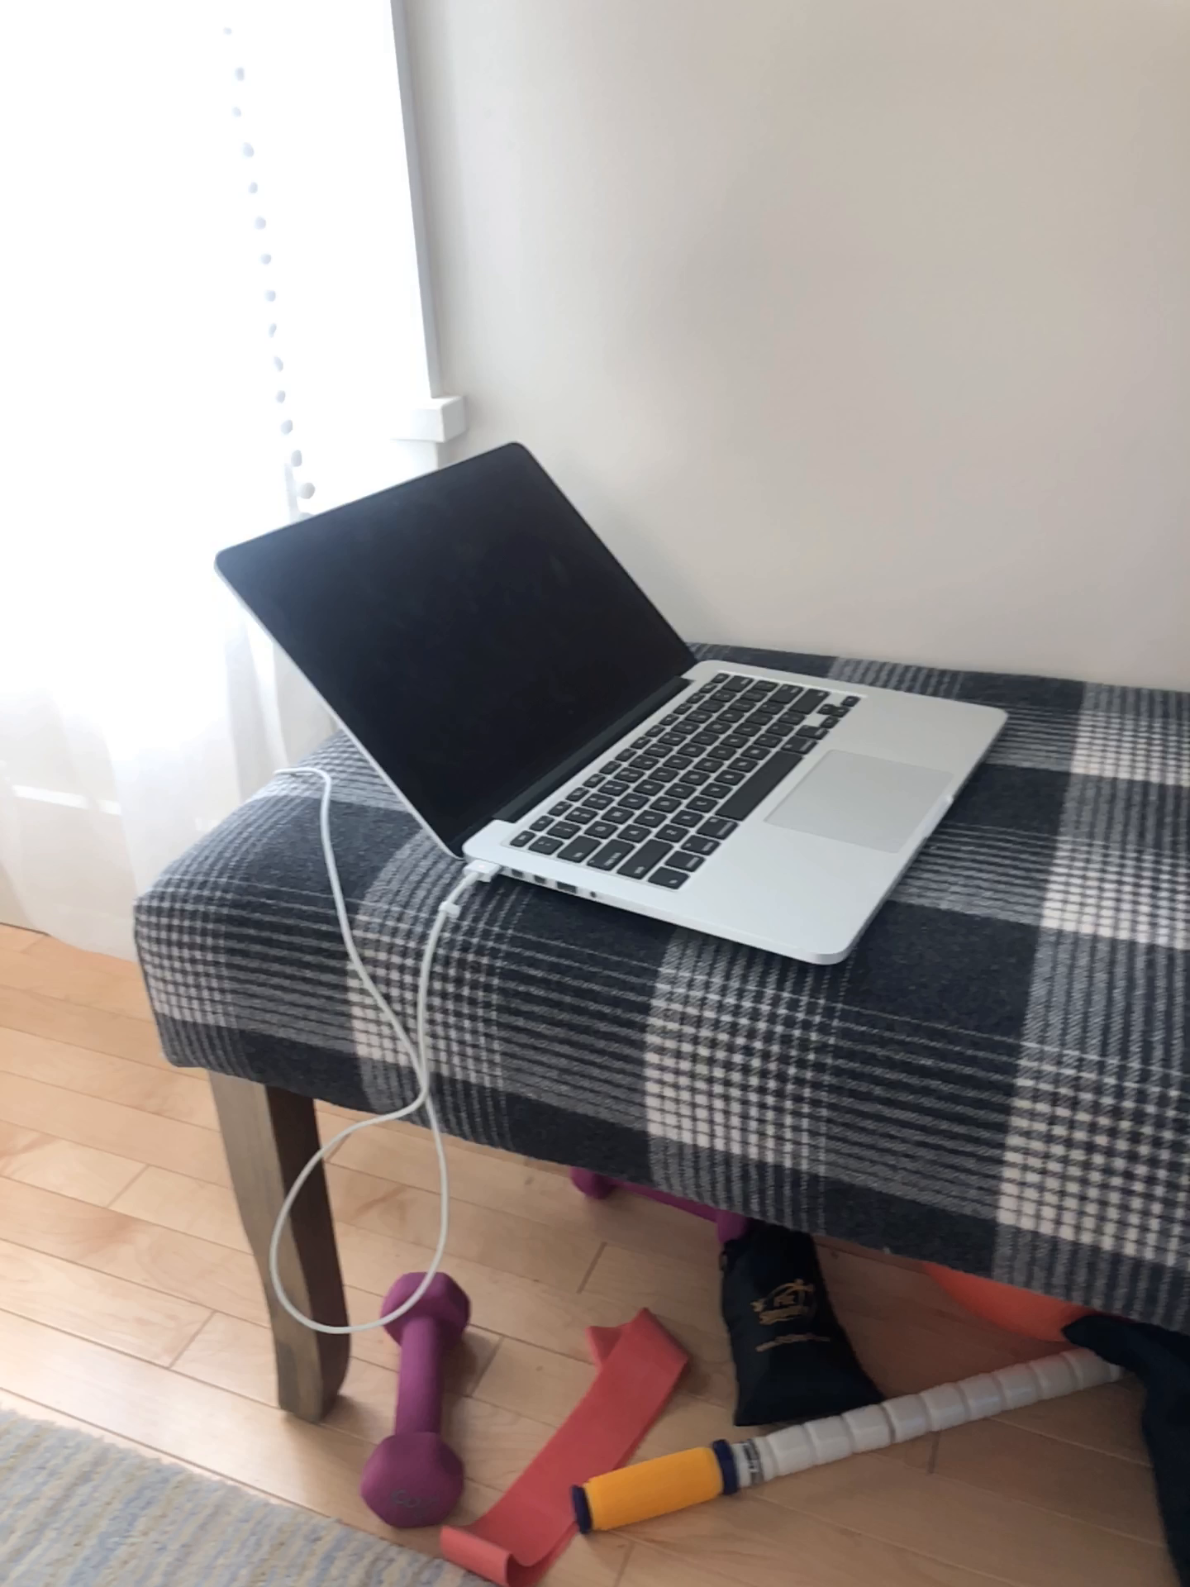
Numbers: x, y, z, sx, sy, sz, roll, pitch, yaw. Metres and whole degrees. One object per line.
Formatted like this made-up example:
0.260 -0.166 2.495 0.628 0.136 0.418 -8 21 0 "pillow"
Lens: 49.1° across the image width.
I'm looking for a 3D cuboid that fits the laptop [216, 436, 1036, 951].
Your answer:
0.031 -0.093 0.770 0.366 0.142 0.308 13 31 27 "laptop"
